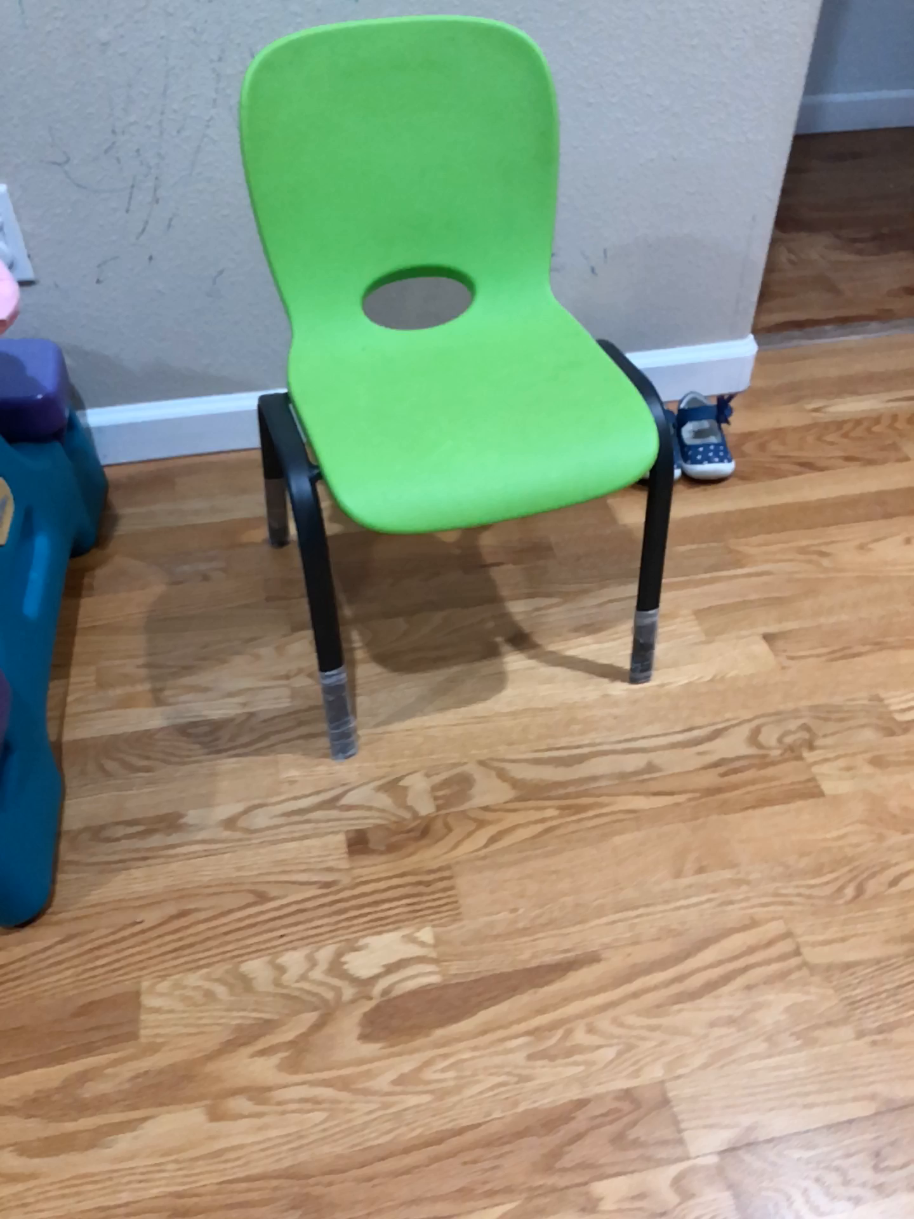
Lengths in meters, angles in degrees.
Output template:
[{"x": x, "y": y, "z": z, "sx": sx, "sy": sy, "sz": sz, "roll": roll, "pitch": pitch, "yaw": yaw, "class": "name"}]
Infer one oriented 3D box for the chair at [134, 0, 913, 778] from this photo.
[{"x": 0.015, "y": -0.248, "z": 1.003, "sx": 0.510, "sy": 0.557, "sz": 0.483, "roll": -11, "pitch": 45, "yaw": -12, "class": "chair"}]
